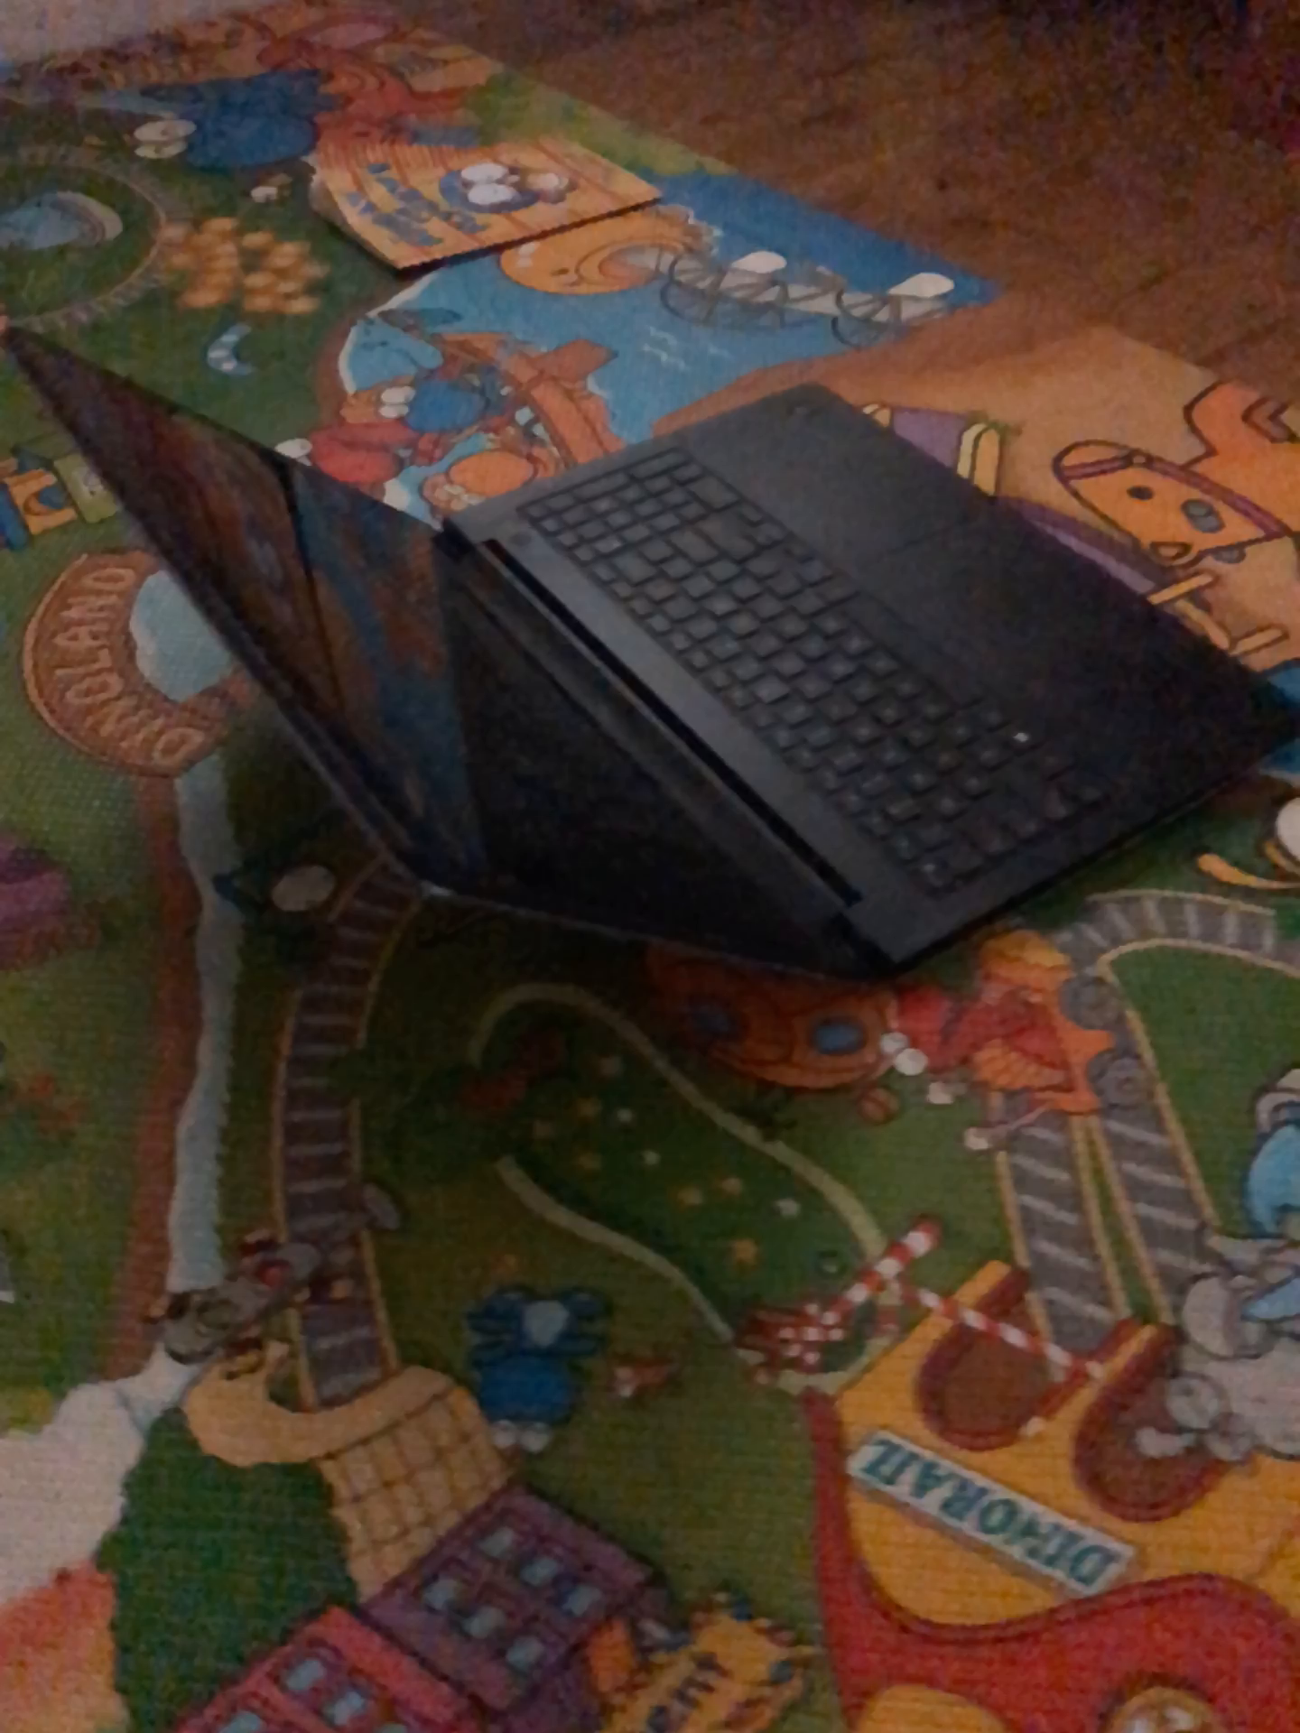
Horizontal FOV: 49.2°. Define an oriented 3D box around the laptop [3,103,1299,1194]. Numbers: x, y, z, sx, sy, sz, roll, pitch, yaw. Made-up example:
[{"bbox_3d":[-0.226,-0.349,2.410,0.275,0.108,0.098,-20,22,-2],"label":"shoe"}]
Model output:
[{"bbox_3d":[0.018,-0.142,0.606,0.429,0.158,0.363,-26,52,-22],"label":"laptop"}]
